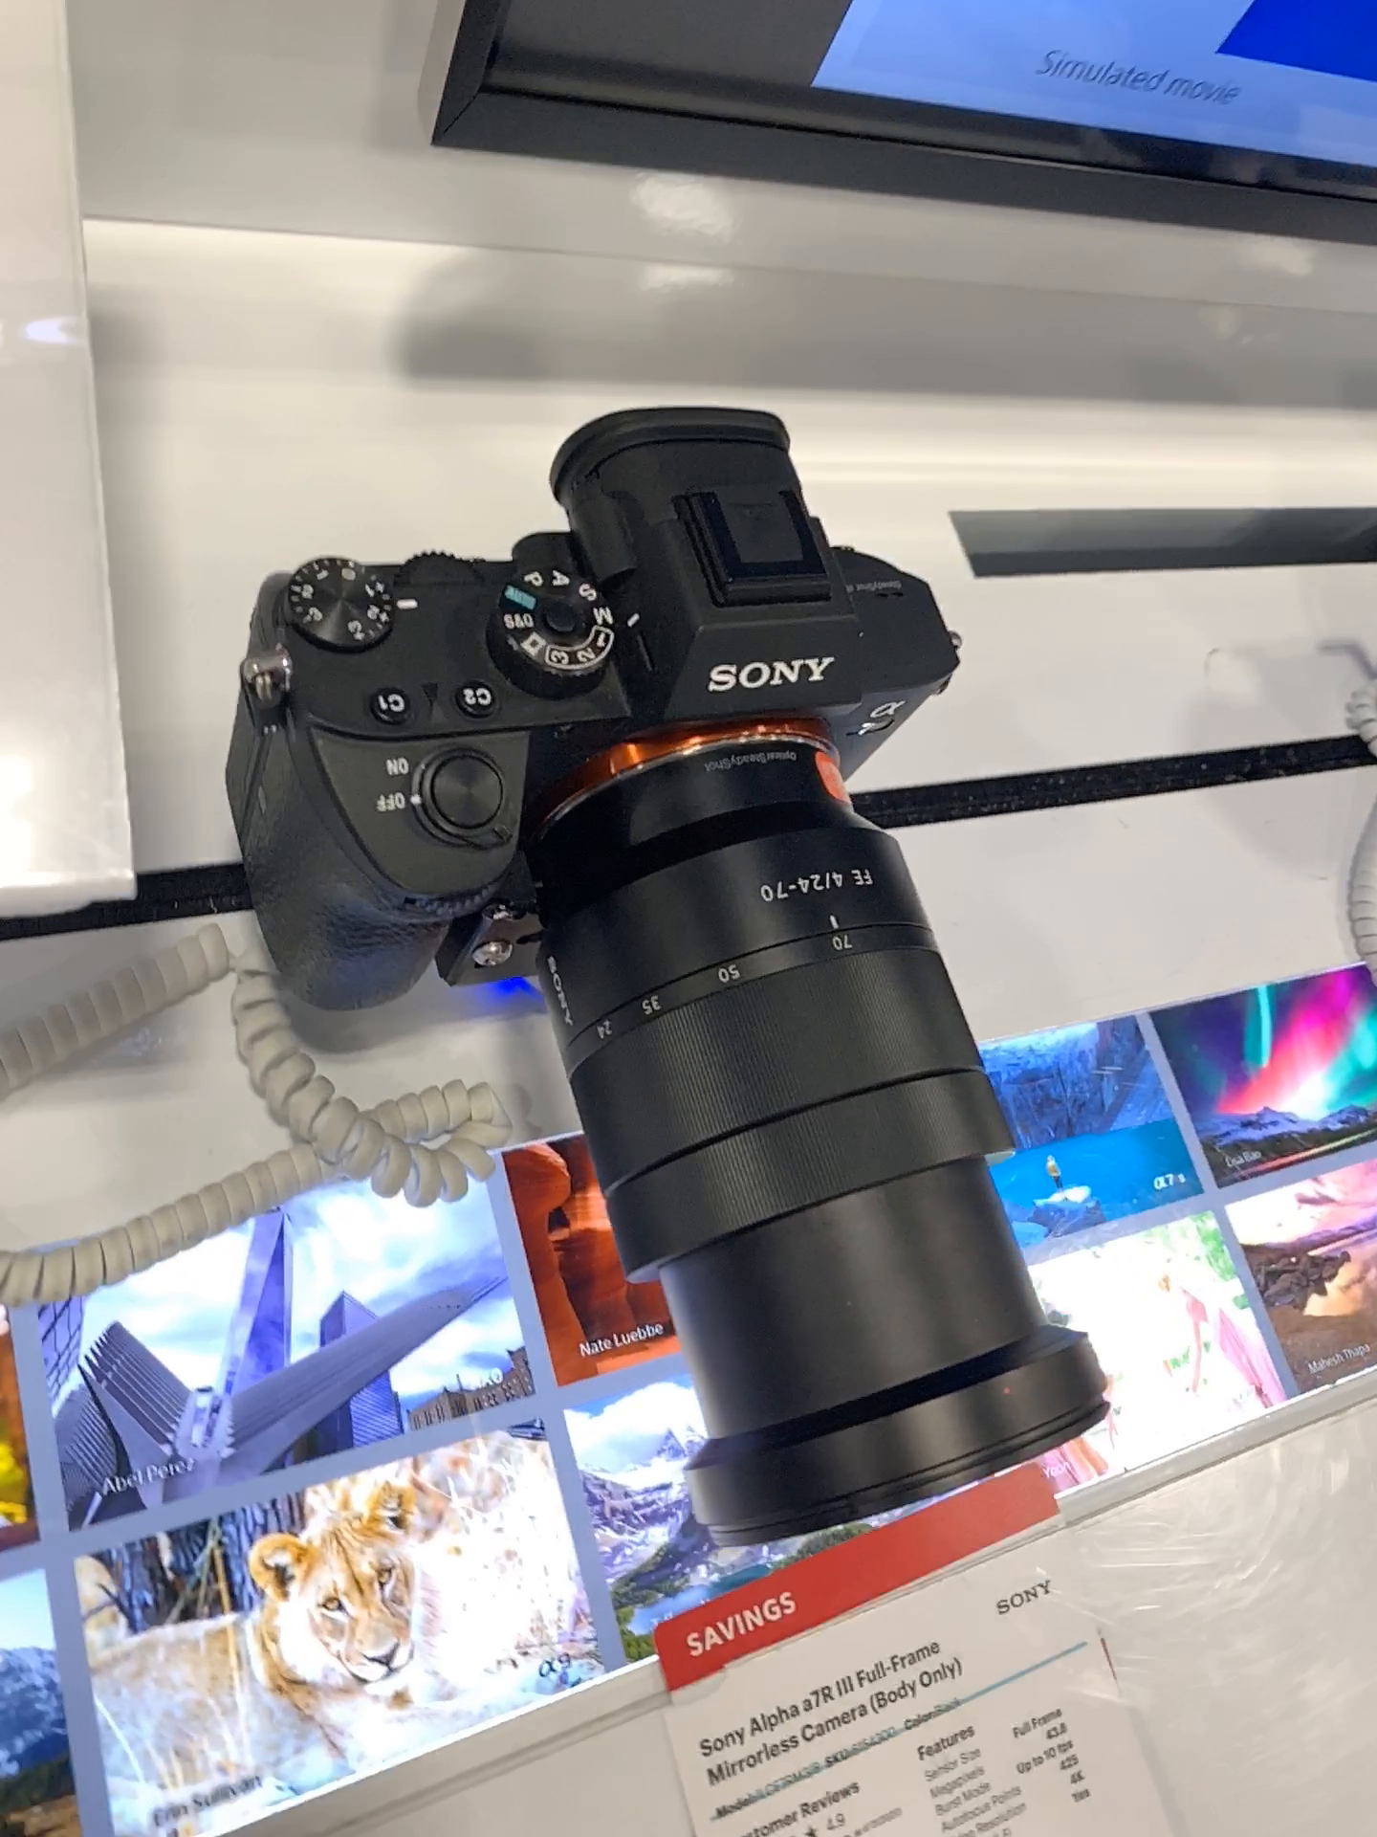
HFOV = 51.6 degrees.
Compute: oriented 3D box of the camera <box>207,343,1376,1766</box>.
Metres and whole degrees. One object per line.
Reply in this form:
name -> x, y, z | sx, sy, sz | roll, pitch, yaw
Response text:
camera -> 0.006, 0.012, 0.252 | 0.130, 0.100, 0.193 | -11, 72, -25
